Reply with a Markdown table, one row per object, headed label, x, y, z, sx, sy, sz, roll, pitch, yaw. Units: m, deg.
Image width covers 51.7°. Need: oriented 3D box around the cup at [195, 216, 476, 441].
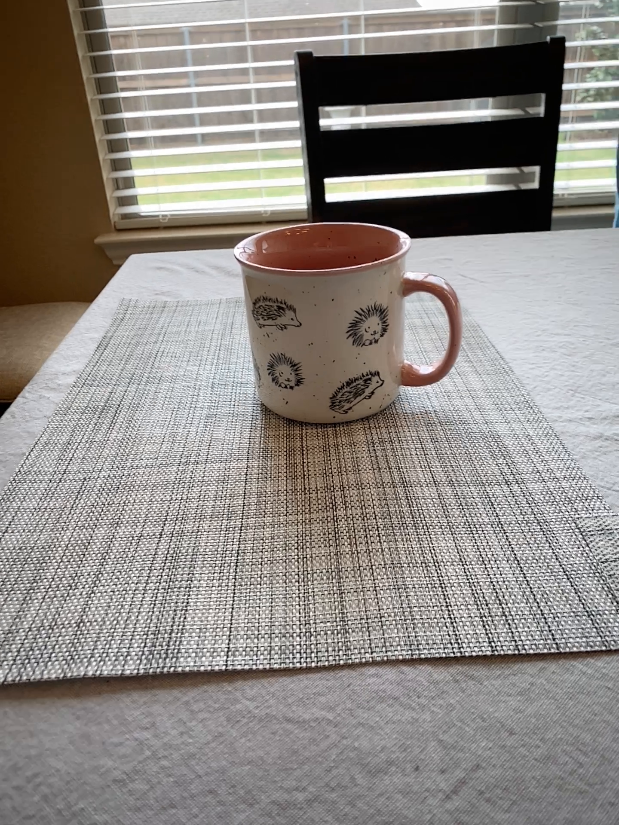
| label | x | y | z | sx | sy | sz | roll | pitch | yaw |
| --- | --- | --- | --- | --- | --- | --- | --- | --- | --- |
| cup | 0.021 | -0.059 | 0.418 | 0.150 | 0.106 | 0.121 | 0 | 29 | 6 |
